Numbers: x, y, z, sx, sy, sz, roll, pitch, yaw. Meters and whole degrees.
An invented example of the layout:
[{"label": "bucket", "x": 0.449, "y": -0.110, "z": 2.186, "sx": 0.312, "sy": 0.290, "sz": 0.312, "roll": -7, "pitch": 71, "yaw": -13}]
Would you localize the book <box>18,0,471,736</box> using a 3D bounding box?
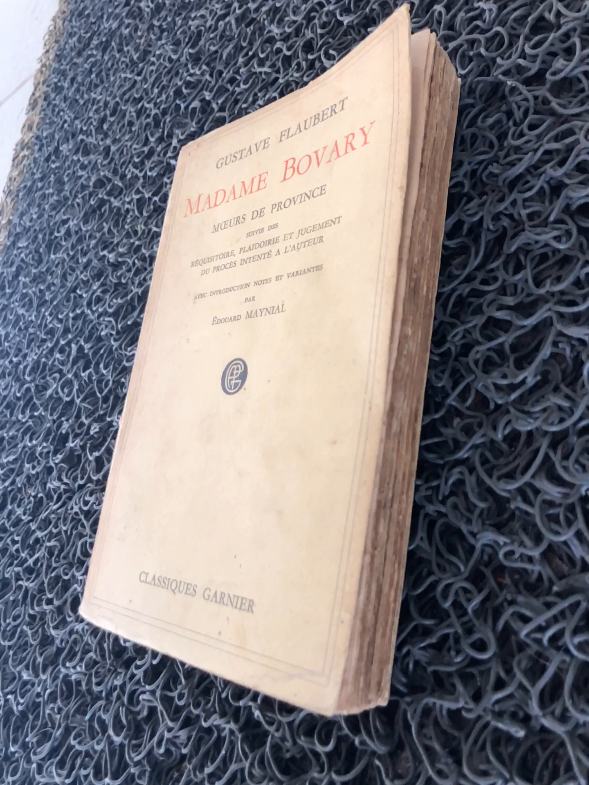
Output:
[{"label": "book", "x": -0.019, "y": -0.011, "z": 0.206, "sx": 0.124, "sy": 0.035, "sz": 0.180, "roll": -3, "pitch": 71, "yaw": 43}]
